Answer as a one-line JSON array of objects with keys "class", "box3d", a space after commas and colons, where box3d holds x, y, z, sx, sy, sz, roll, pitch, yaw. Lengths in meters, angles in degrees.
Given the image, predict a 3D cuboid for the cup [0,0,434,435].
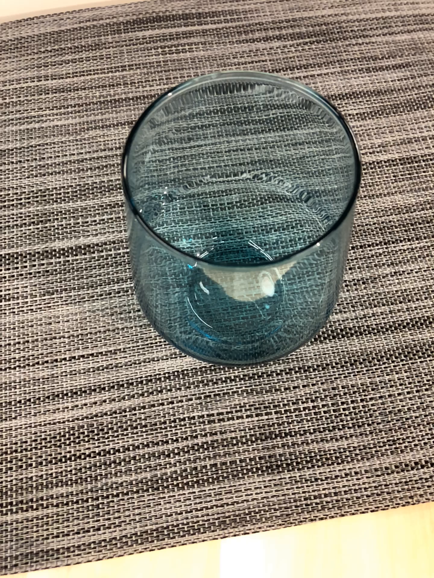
[{"class": "cup", "box3d": [-0.006, -0.032, 0.208, 0.120, 0.120, 0.120, -1, 67, 1]}]
